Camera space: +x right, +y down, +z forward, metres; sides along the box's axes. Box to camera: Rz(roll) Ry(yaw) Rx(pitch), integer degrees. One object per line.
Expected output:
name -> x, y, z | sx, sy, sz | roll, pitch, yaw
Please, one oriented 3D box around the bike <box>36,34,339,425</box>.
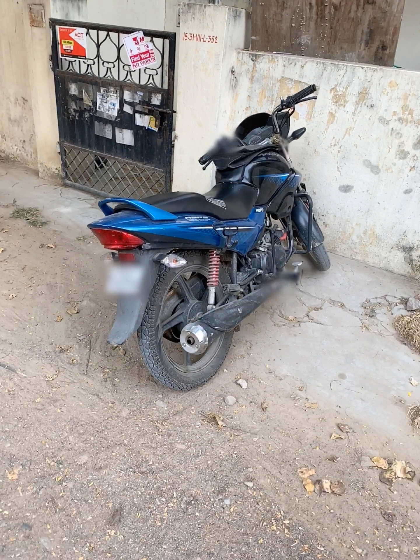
bike -> 0.002, -0.503, 2.278 | 0.754, 1.233, 1.712 | 18, 36, 20
